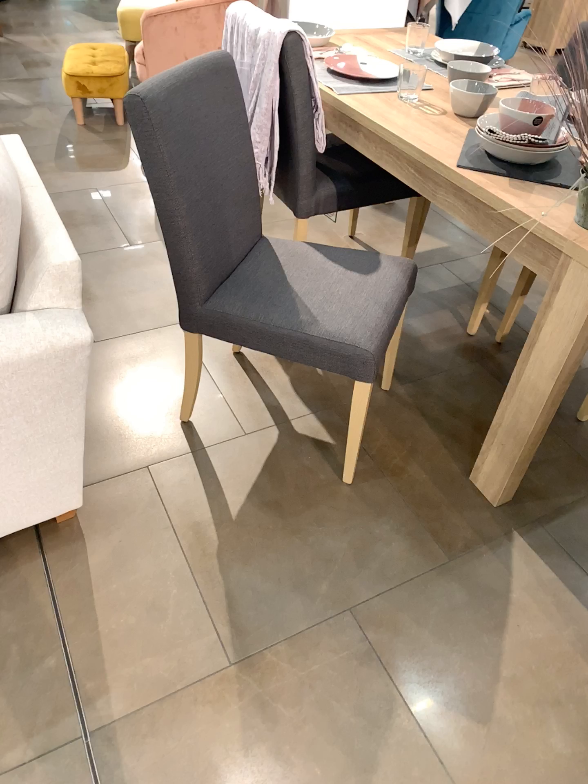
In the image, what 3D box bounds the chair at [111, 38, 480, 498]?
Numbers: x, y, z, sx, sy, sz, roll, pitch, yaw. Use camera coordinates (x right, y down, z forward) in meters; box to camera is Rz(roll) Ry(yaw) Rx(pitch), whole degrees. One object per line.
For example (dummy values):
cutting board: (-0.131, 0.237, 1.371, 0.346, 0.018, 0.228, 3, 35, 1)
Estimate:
chair: (0.002, -0.301, 1.526, 0.615, 0.889, 0.510, 19, 43, 14)
